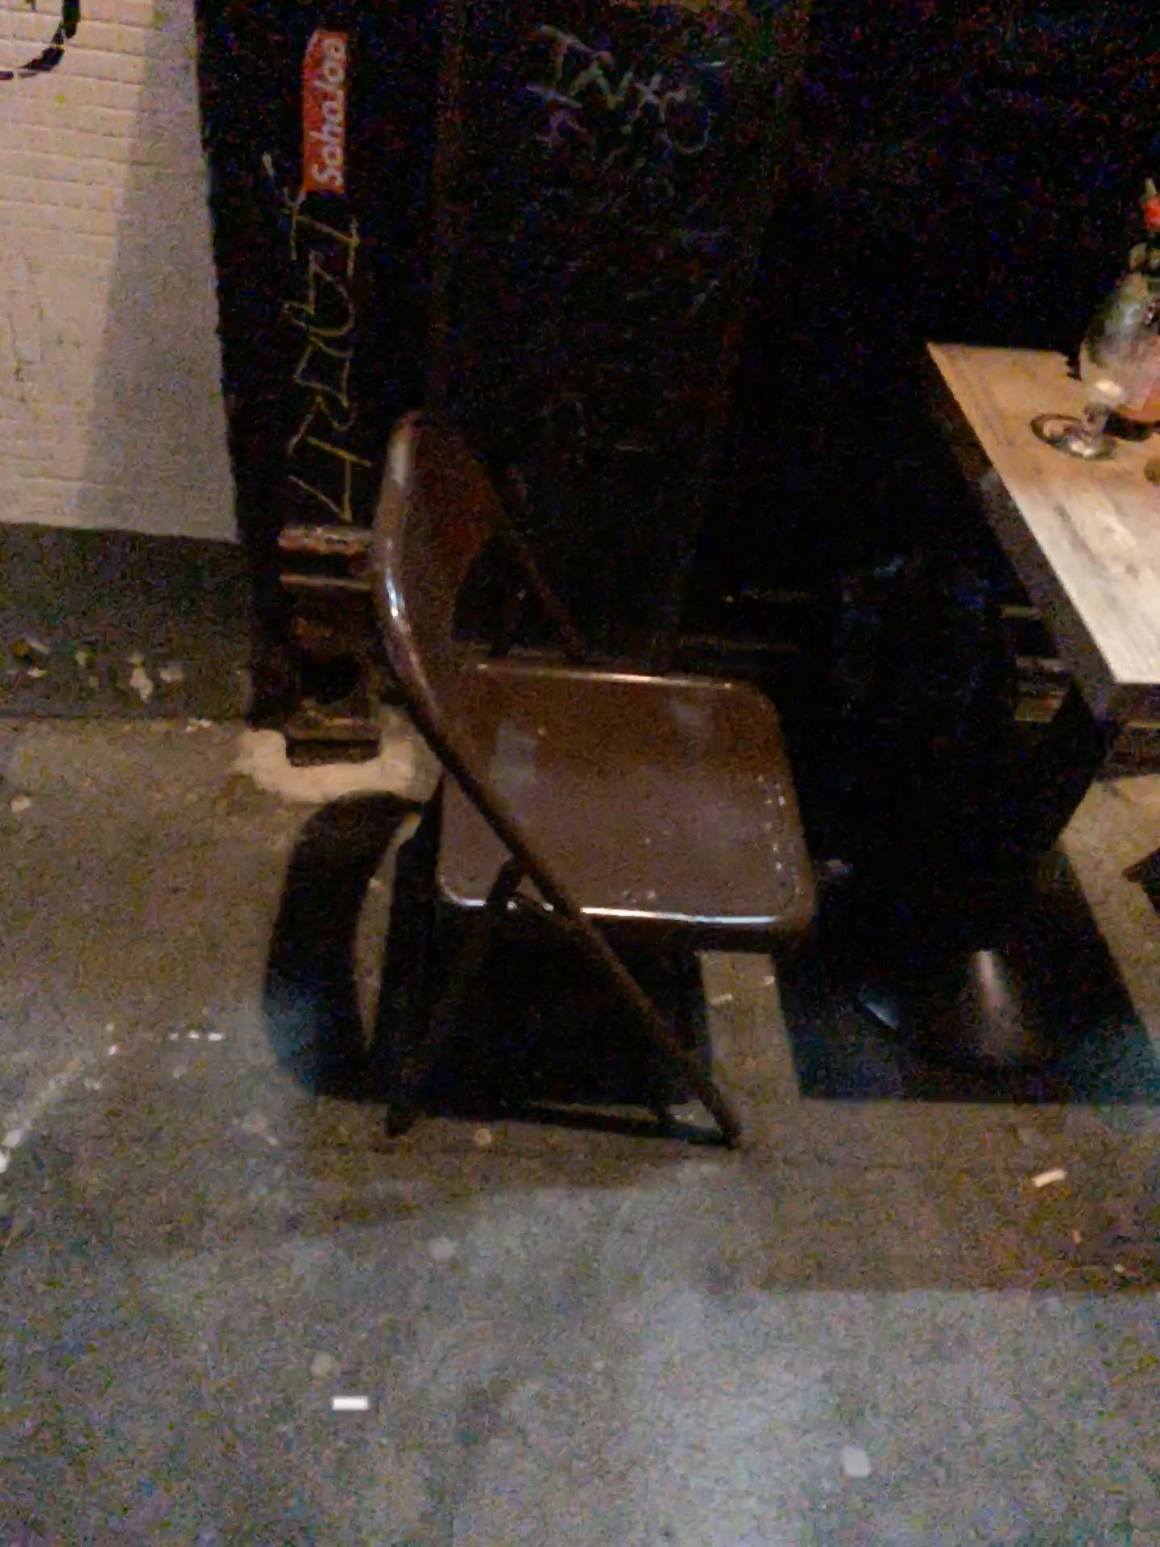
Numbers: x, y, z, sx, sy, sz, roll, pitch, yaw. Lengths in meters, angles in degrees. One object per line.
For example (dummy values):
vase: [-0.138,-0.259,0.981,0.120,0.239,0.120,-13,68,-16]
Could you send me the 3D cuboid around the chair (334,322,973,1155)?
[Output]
chair: [0.008,-0.013,1.283,0.480,0.723,0.495,5,41,-6]
